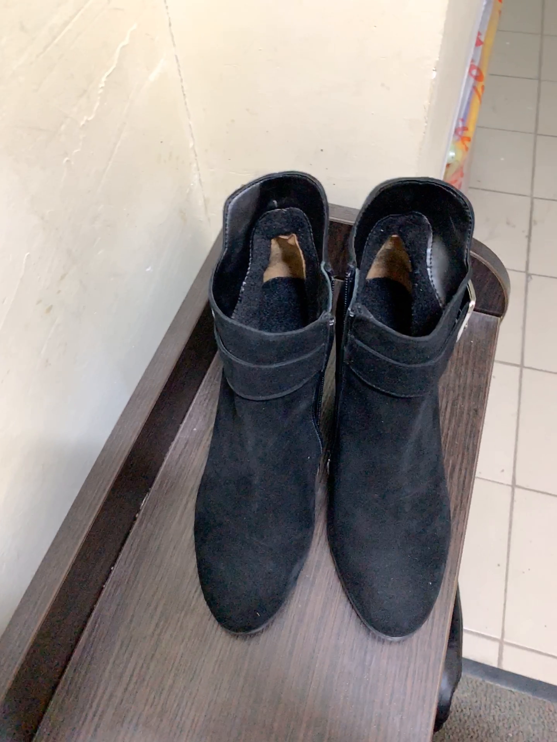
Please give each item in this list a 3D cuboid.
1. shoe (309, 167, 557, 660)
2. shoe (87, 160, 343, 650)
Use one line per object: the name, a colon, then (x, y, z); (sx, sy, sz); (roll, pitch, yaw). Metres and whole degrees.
shoe: (0.074, 0.032, 0.358); (0.088, 0.189, 0.241); (-4, 56, 0)
shoe: (-0.014, 0.025, 0.361); (0.088, 0.189, 0.241); (4, 57, 5)
